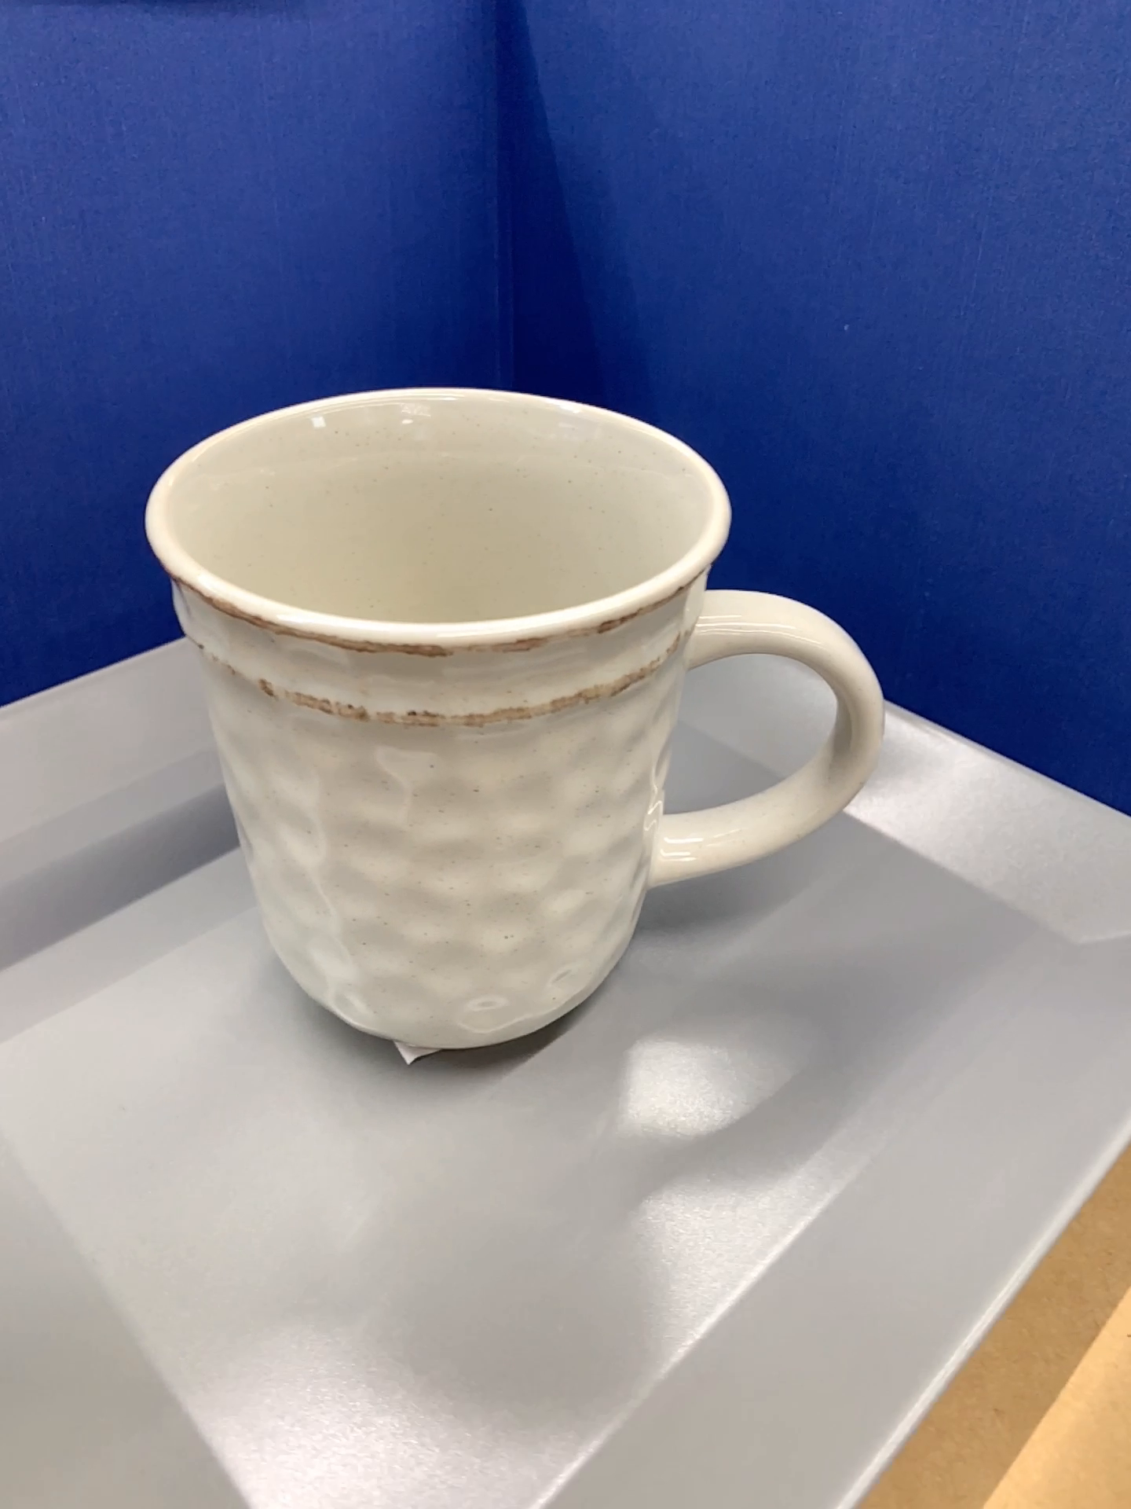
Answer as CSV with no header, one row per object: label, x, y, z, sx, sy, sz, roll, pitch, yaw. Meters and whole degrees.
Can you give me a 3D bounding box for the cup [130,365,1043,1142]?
cup,-0.006,-0.012,0.216,0.123,0.082,0.101,-10,36,-16
